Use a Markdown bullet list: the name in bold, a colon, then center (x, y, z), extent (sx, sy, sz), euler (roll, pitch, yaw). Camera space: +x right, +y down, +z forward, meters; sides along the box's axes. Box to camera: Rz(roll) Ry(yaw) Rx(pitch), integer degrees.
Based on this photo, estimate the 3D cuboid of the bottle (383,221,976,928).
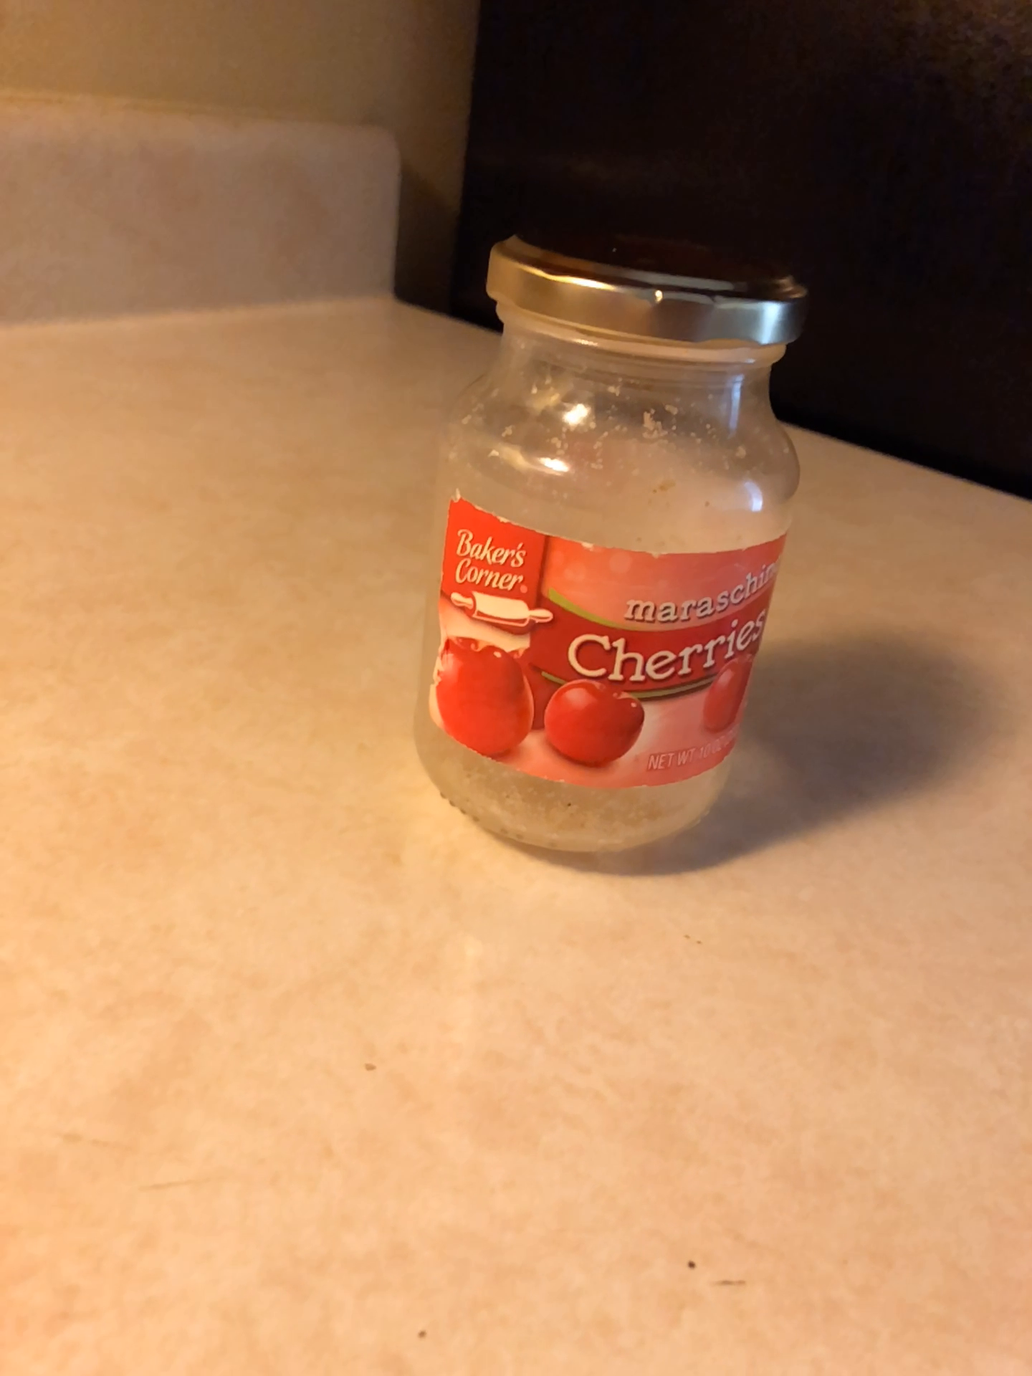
- **bottle**: center (0.022, -0.025, 0.226), extent (0.070, 0.110, 0.070), euler (6, 27, -3)
